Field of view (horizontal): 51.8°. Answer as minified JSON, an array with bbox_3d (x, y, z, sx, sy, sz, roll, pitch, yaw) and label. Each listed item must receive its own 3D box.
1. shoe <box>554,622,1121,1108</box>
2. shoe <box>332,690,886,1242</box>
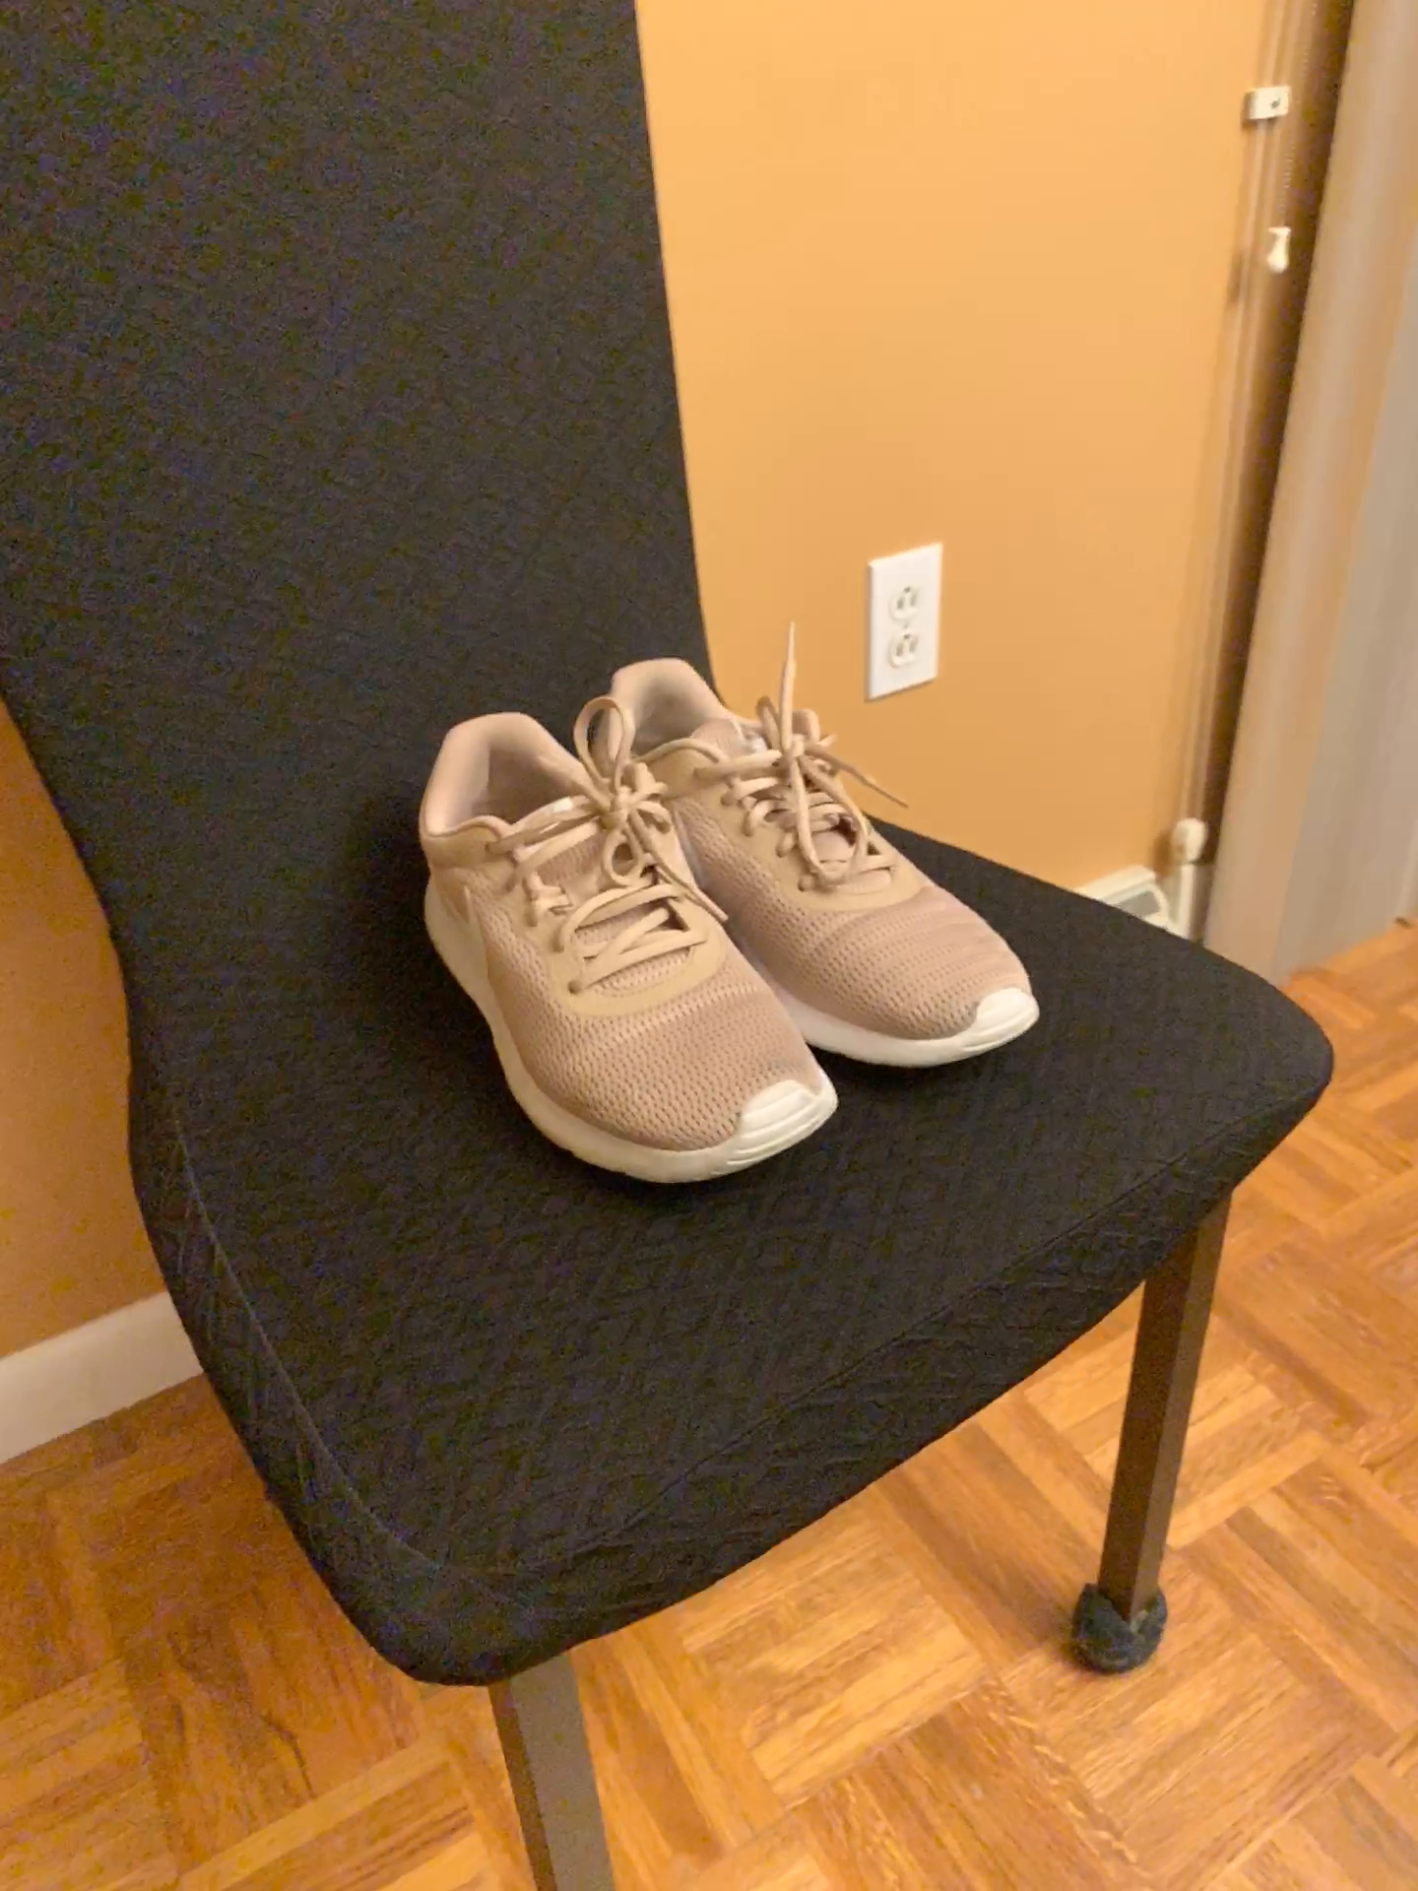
[{"bbox_3d":[0.043,-0.052,0.650,0.110,0.089,0.261,-21,37,-25],"label":"shoe"},{"bbox_3d":[-0.053,-0.010,0.619,0.110,0.089,0.271,-21,37,-25],"label":"shoe"}]
